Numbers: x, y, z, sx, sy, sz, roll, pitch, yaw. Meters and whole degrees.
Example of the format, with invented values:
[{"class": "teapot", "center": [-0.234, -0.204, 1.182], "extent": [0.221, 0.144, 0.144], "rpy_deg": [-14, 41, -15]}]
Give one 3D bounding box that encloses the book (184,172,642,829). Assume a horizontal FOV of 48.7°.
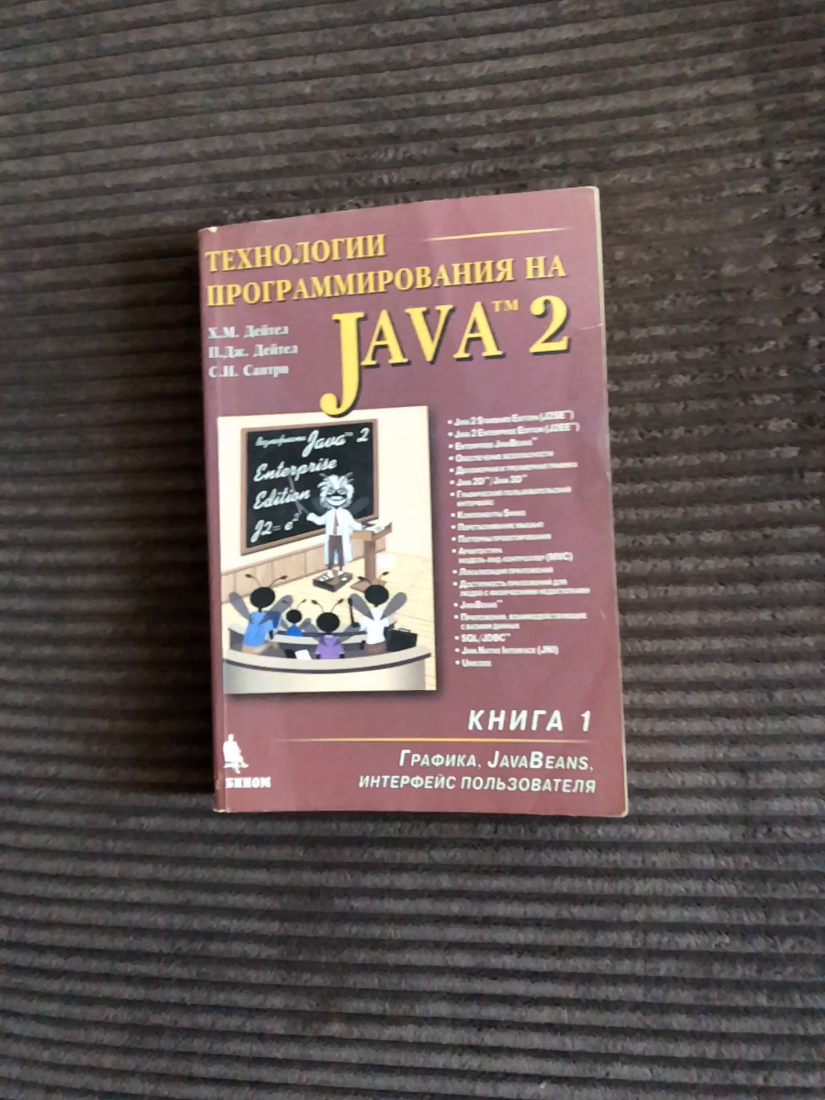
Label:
[{"class": "book", "center": [-0.002, -0.016, 0.370], "extent": [0.165, 0.050, 0.240], "rpy_deg": [-3, 85, 9]}]
